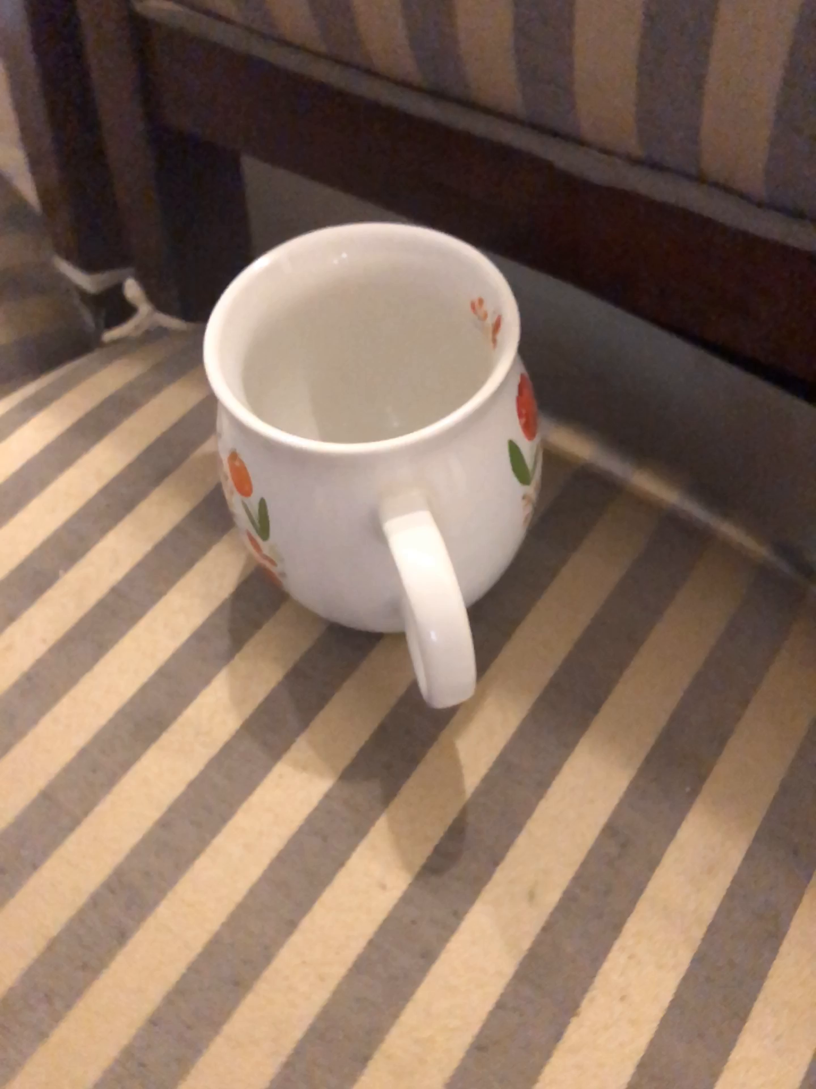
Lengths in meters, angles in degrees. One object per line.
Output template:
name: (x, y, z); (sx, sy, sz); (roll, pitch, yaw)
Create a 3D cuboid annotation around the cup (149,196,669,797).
cup: (-0.008, -0.018, 0.280); (0.110, 0.090, 0.141); (-12, 54, -6)
